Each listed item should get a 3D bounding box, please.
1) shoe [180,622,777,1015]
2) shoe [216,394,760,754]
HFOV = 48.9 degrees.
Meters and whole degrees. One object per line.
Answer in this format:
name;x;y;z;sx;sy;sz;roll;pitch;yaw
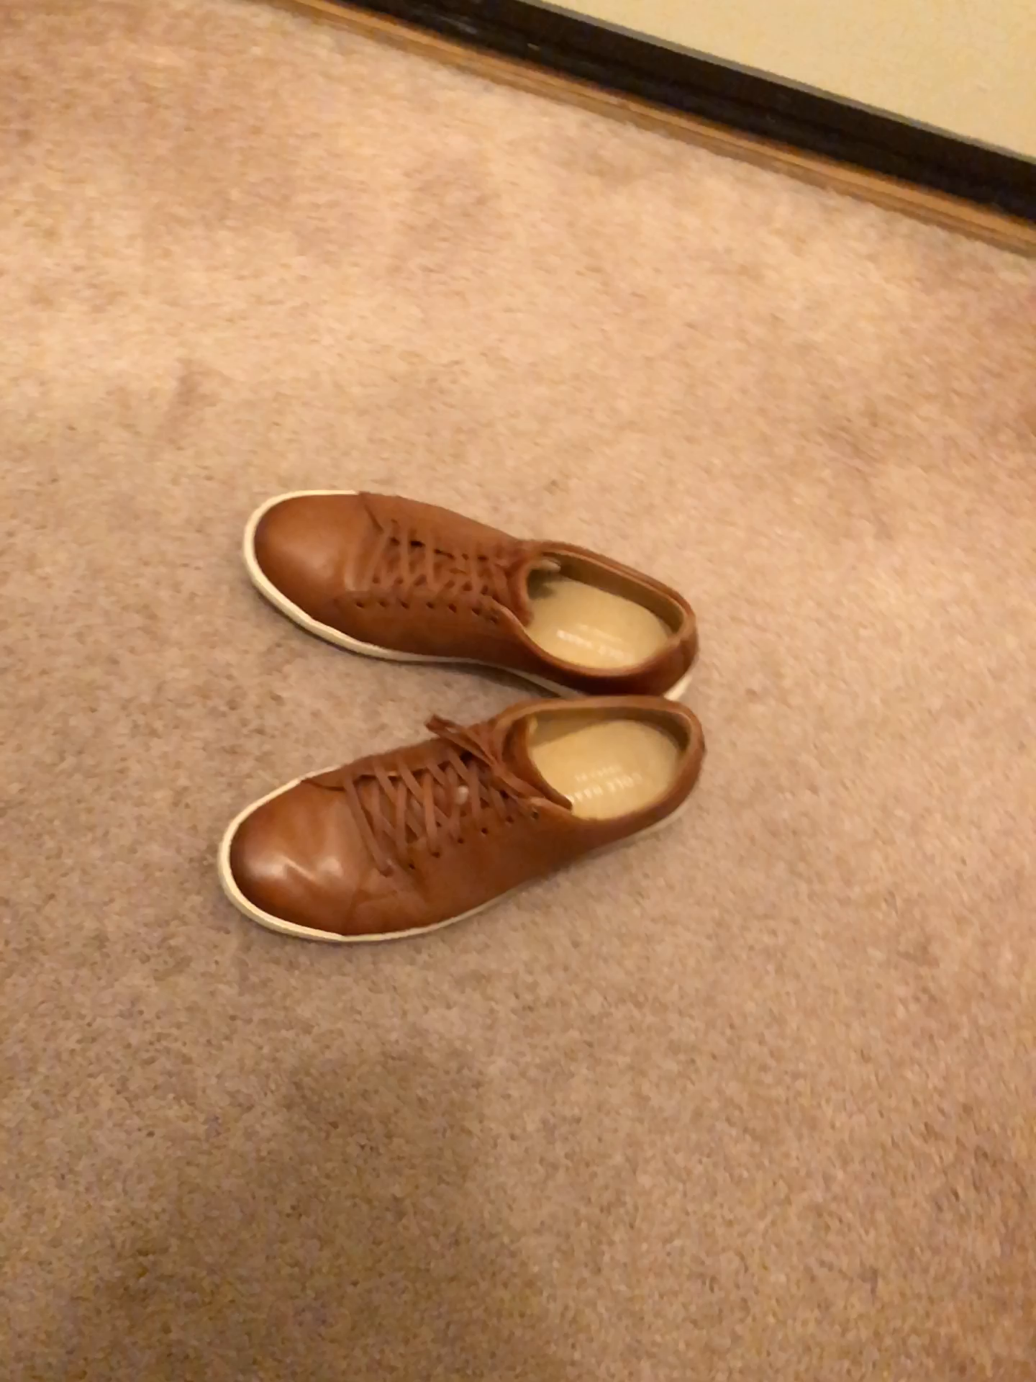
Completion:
shoe;-0.022;0.071;0.632;0.285;0.100;0.117;-17;74;-13
shoe;-0.016;-0.065;0.681;0.285;0.103;0.117;14;69;-2
